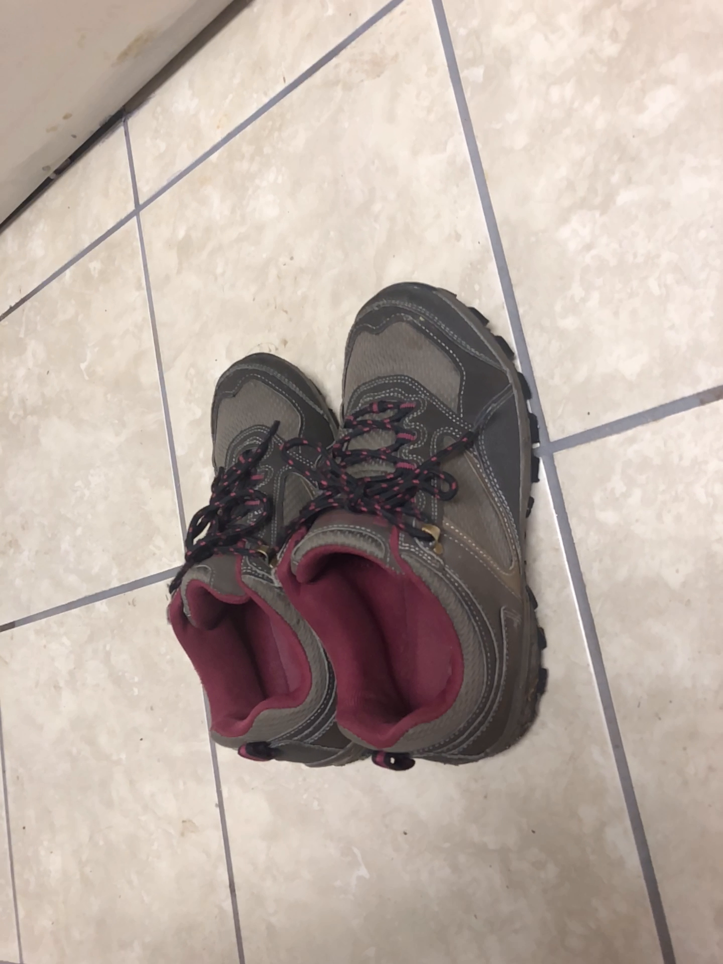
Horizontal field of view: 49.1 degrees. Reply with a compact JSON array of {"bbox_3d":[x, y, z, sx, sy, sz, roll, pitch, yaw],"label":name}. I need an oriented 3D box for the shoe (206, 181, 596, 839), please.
[{"bbox_3d":[0.017,0.015,0.389,0.111,0.119,0.260,-14,79,38],"label":"shoe"}]

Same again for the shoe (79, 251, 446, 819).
[{"bbox_3d":[-0.061,0.033,0.450,0.121,0.119,0.270,-19,76,37],"label":"shoe"}]
